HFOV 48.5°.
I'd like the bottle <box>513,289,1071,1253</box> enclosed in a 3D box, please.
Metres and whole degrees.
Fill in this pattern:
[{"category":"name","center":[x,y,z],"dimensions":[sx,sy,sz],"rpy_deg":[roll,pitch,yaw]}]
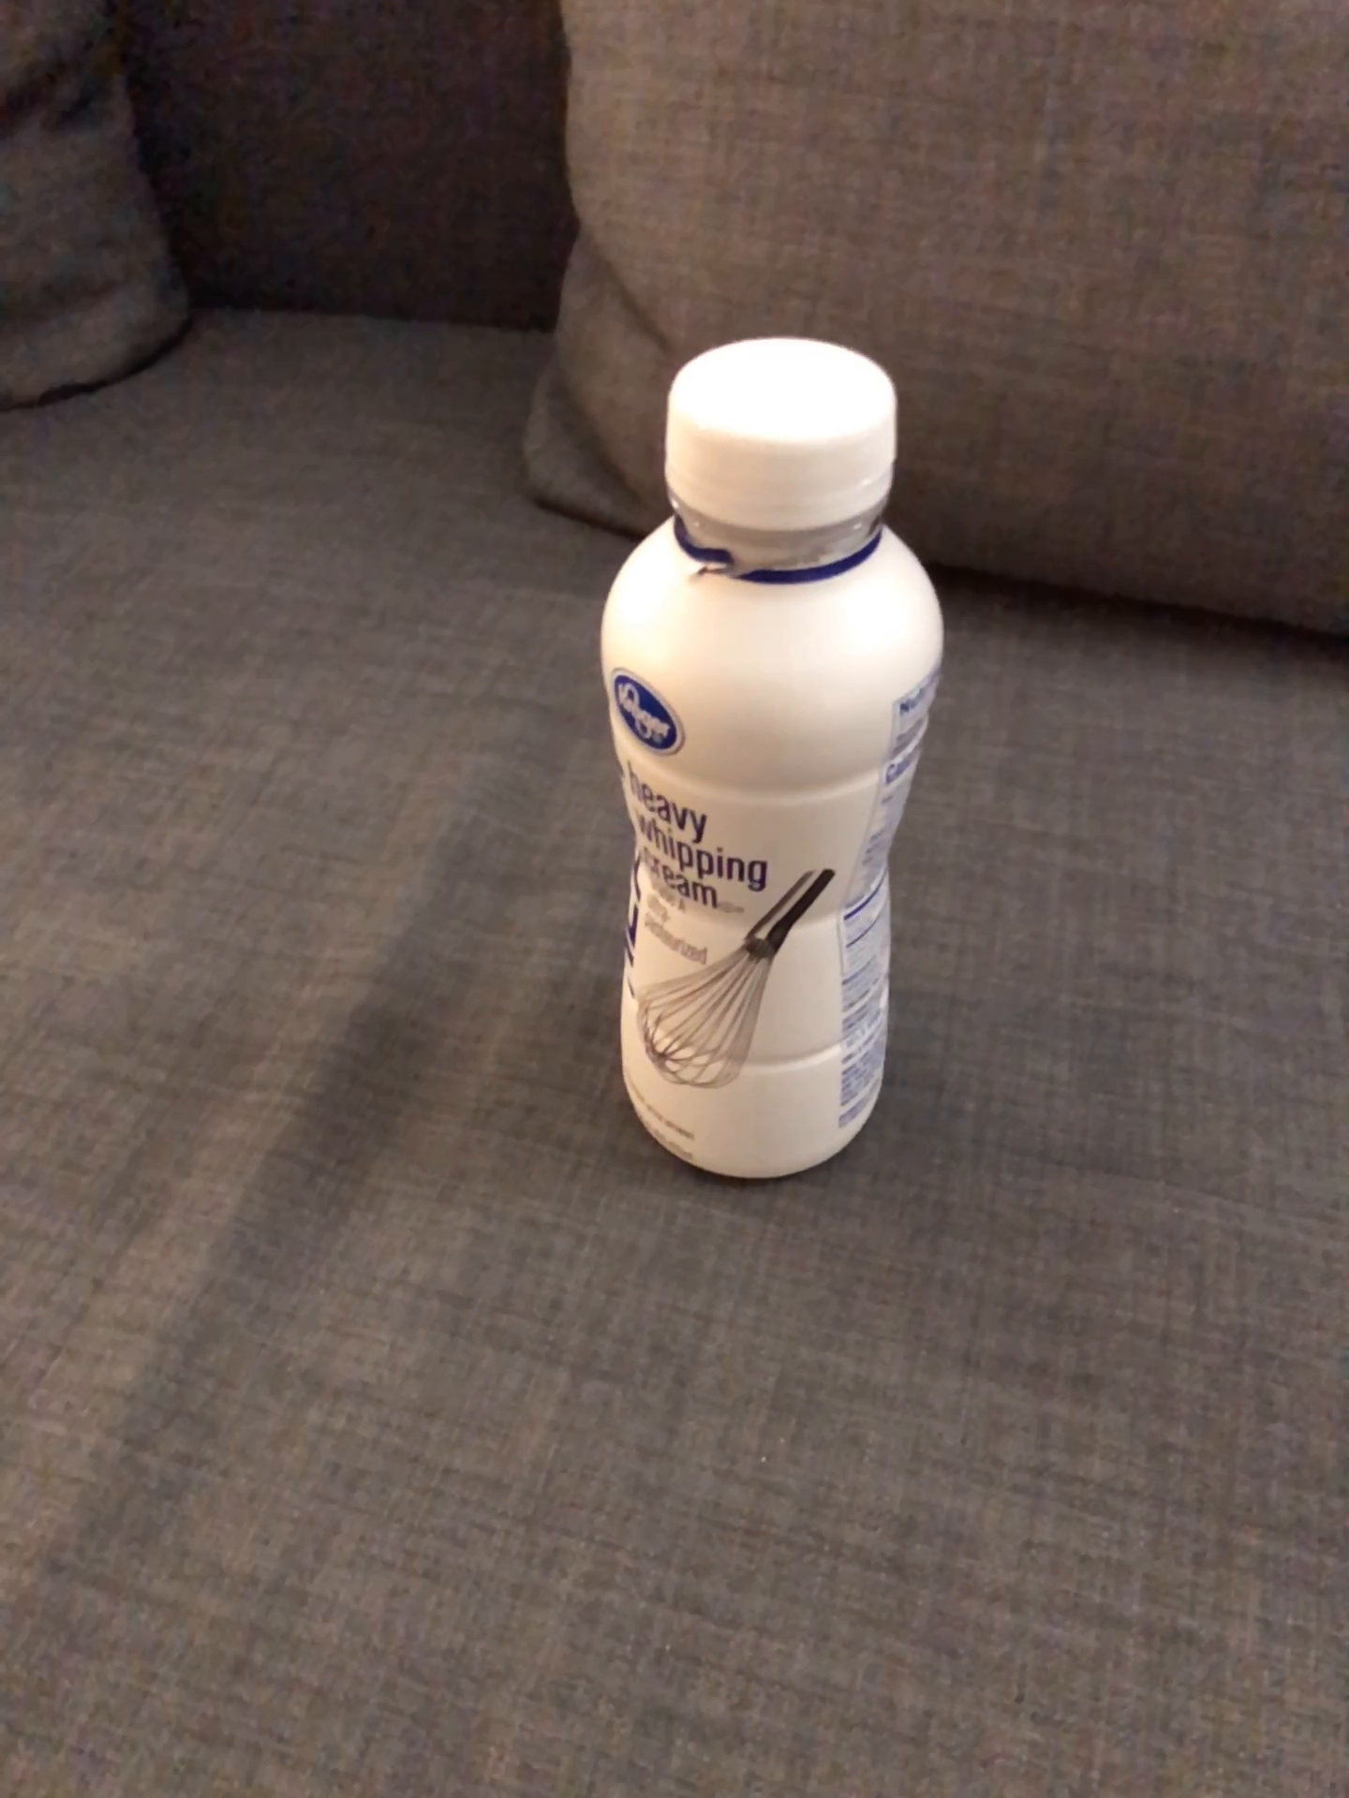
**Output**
[{"category":"bottle","center":[0.022,-0.019,0.326],"dimensions":[0.070,0.189,0.070],"rpy_deg":[-1,43,1]}]
